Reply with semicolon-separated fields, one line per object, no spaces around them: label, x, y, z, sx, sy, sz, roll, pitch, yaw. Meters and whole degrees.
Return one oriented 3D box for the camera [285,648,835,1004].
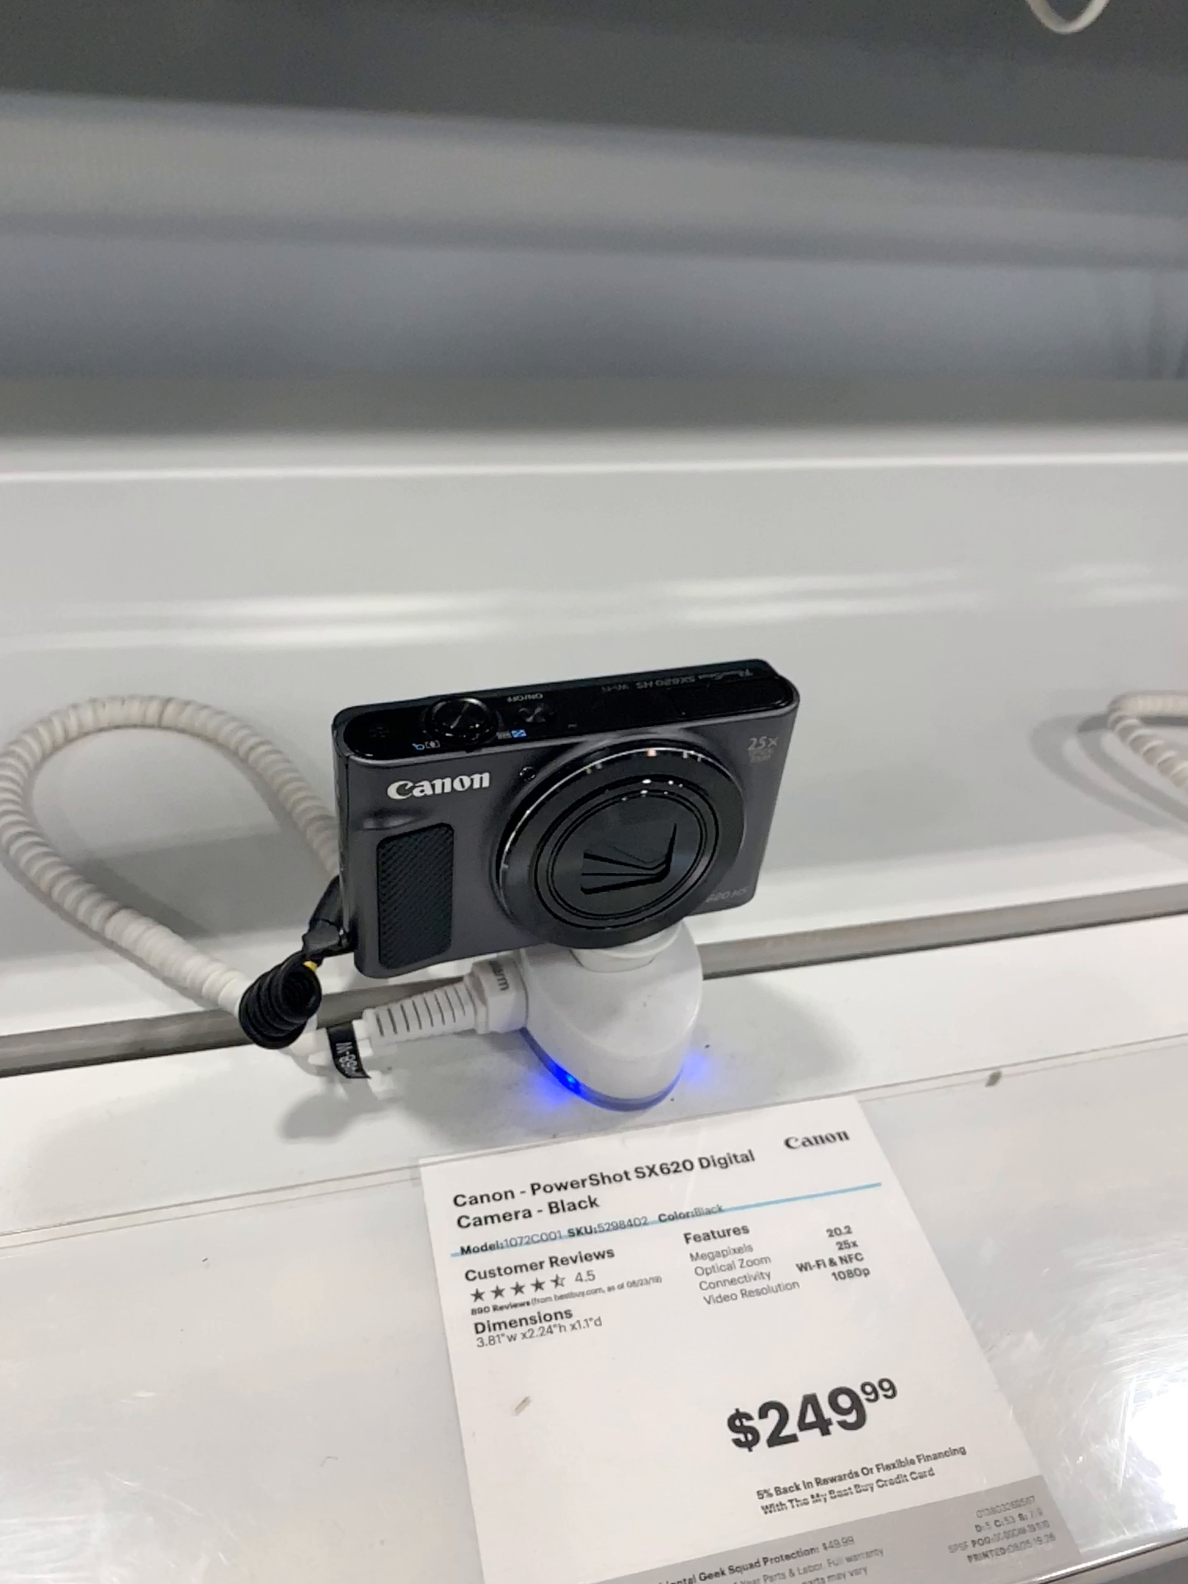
camera;-0.008;0.005;0.249;0.100;0.050;0.031;-8;39;-20
